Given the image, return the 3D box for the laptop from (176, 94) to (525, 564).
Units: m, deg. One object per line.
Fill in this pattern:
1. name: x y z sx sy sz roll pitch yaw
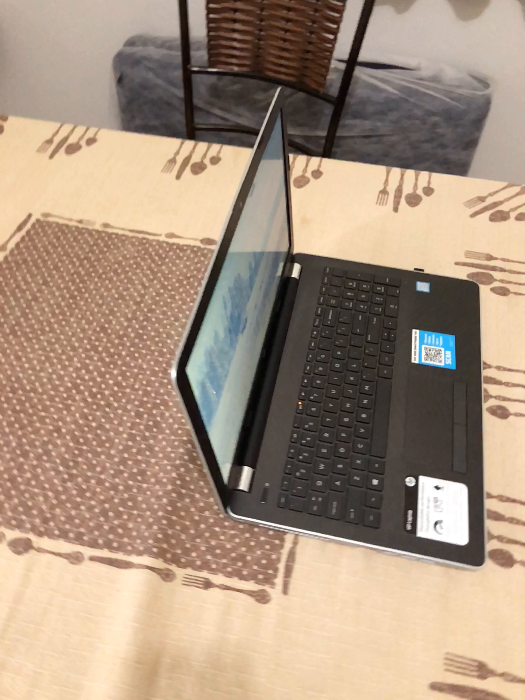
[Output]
1. laptop: 0.110 -0.034 0.557 0.267 0.226 0.362 10 53 6
